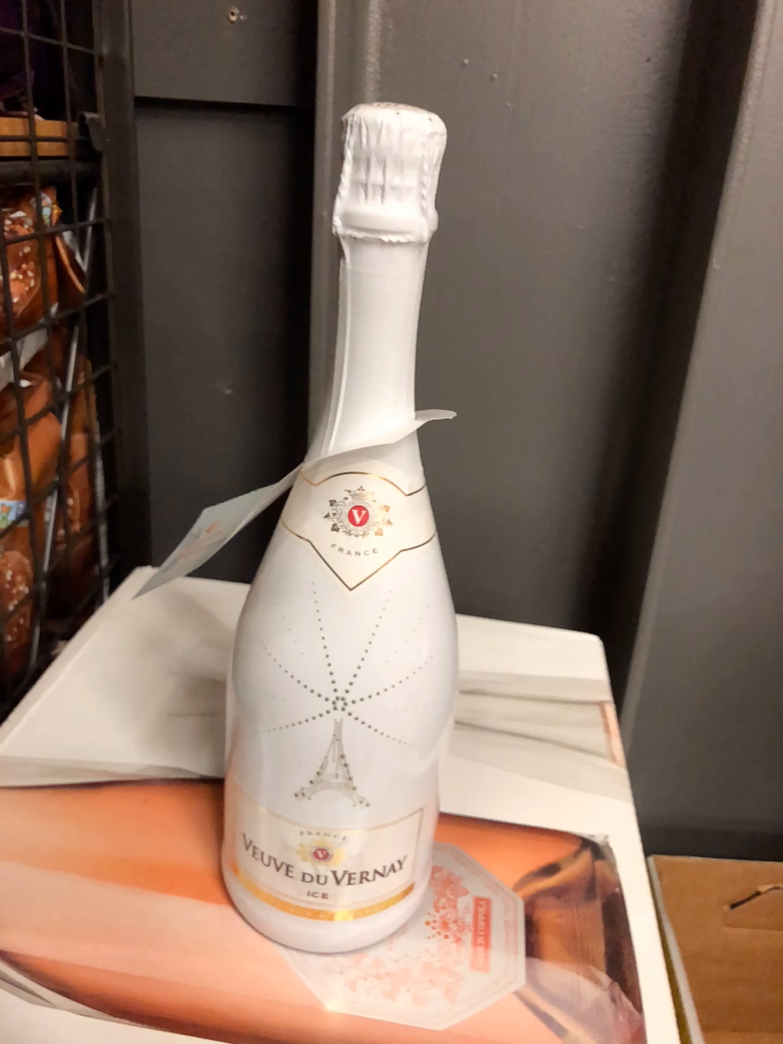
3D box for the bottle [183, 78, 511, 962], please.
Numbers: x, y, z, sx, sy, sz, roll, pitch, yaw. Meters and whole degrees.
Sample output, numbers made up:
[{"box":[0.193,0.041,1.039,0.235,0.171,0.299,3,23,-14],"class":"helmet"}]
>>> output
[{"box":[-0.020,0.011,0.330,0.086,0.310,0.094,3,23,-1],"class":"bottle"}]
